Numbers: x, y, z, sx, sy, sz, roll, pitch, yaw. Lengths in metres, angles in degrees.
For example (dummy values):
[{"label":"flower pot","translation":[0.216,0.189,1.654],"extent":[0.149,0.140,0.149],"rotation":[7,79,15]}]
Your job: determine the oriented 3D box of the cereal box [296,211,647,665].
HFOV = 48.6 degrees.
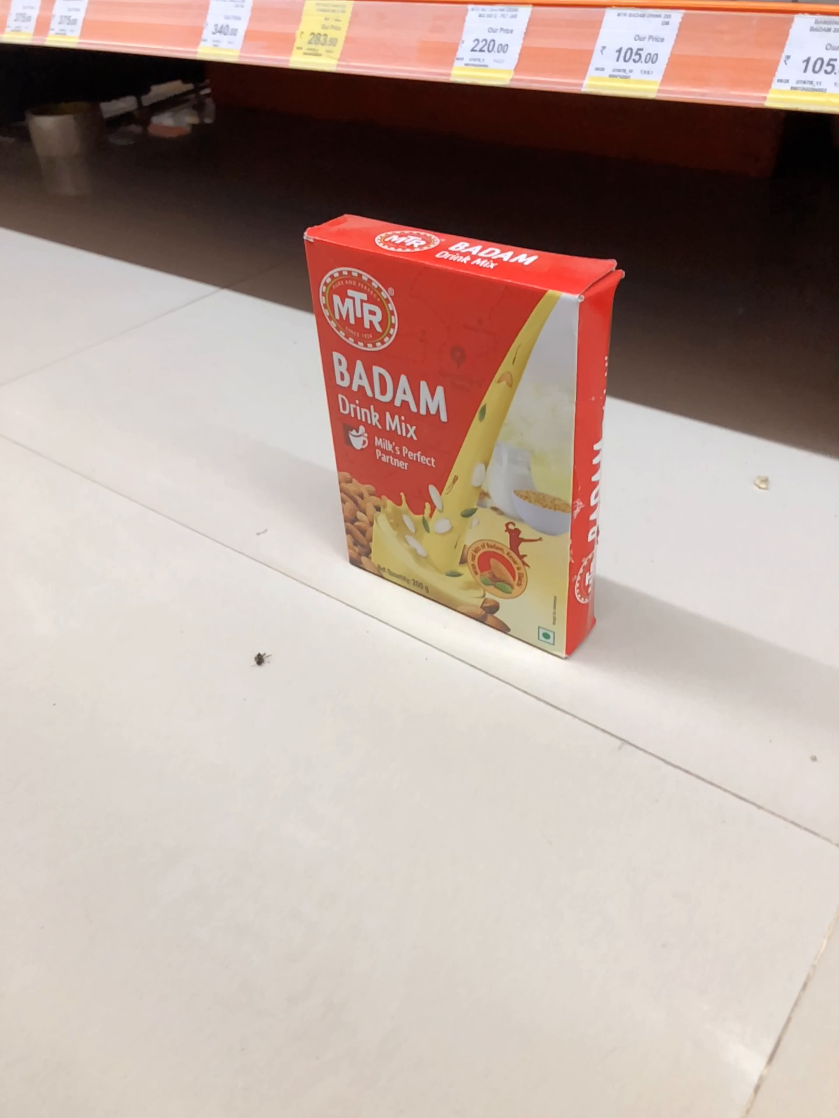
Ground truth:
[{"label":"cereal box","translation":[0.020,-0.051,0.391],"extent":[0.130,0.159,0.040],"rotation":[22,44,31]}]
